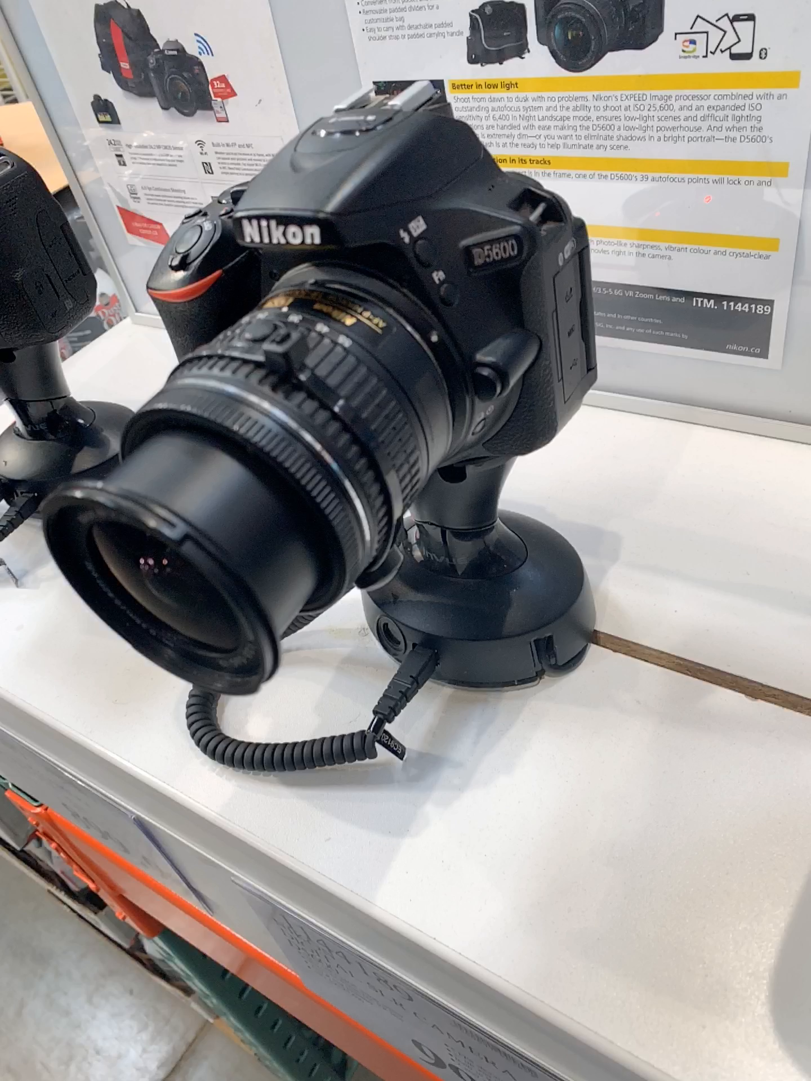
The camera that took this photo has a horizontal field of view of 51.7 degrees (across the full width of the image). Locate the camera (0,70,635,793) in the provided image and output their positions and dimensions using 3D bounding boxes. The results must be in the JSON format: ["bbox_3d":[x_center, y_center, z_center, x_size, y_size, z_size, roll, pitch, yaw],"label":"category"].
[{"bbox_3d":[-0.022,-0.040,0.205,0.111,0.090,0.140,14,48,29],"label":"camera"}]
